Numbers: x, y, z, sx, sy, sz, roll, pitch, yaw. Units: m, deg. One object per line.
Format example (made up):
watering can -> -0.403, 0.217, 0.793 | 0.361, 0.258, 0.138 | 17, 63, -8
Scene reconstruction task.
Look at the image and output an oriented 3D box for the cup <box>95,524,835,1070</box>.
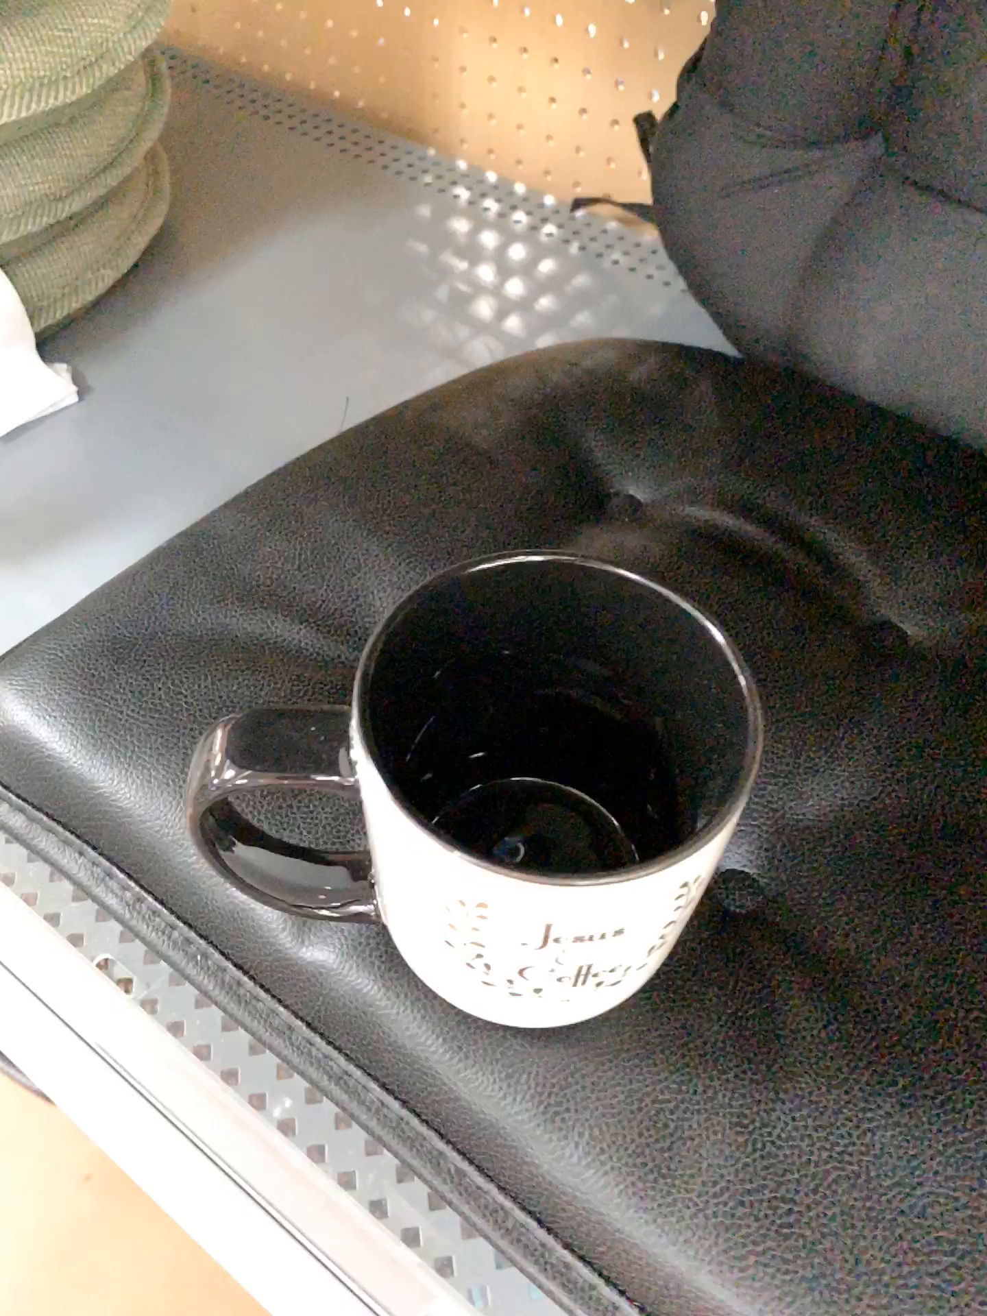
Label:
cup -> -0.007, 0.039, 0.268 | 0.142, 0.104, 0.102 | 0, 50, -1
